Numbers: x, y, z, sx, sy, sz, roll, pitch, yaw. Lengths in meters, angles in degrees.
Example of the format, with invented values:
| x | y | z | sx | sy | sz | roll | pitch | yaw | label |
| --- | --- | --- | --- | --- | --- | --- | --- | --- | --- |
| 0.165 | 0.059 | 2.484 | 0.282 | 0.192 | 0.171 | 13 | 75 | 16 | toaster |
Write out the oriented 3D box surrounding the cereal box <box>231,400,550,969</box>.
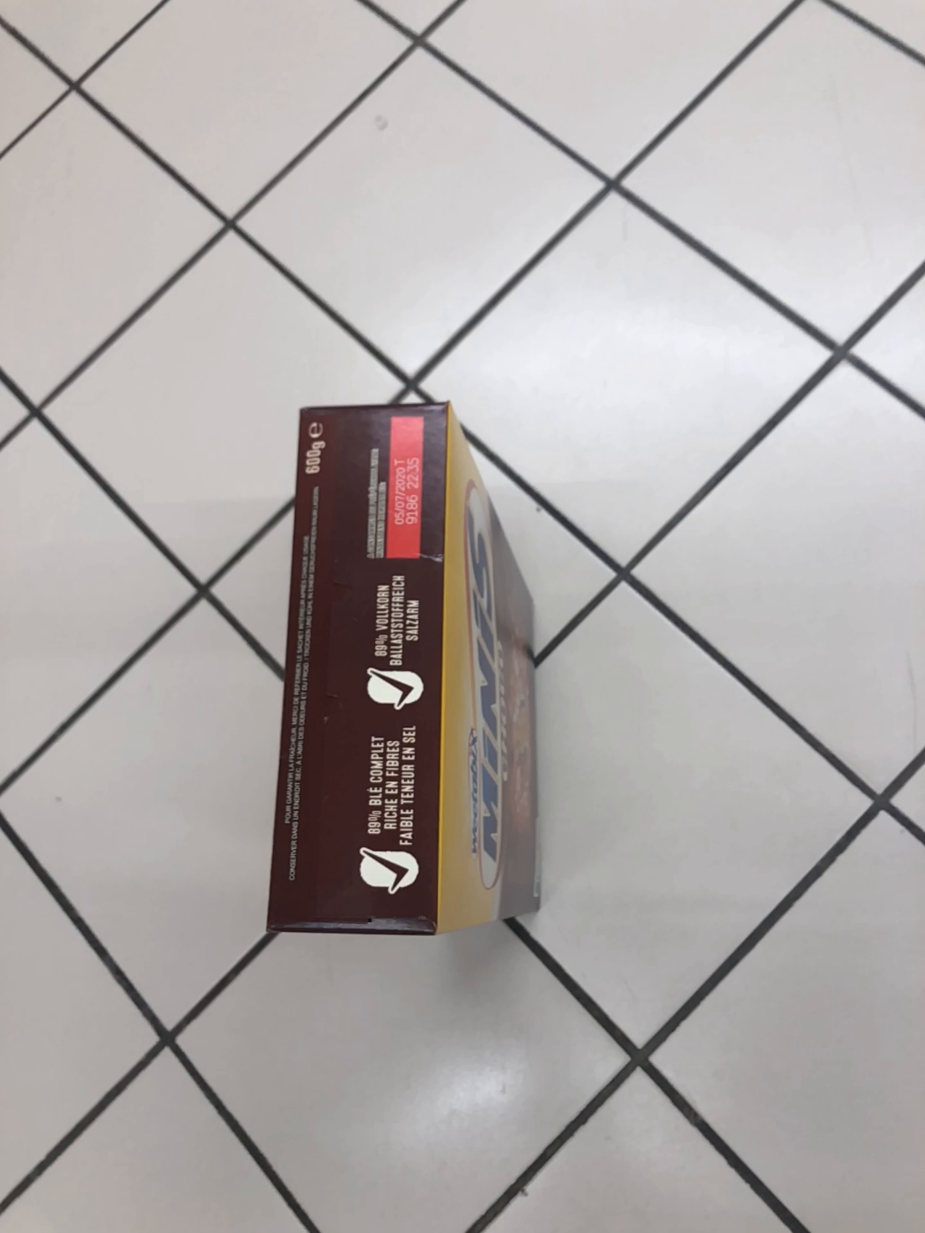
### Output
| x | y | z | sx | sy | sz | roll | pitch | yaw | label |
| --- | --- | --- | --- | --- | --- | --- | --- | --- | --- |
| -0.013 | 0.054 | 0.499 | 0.080 | 0.290 | 0.200 | -3 | 75 | 10 | cereal box |
